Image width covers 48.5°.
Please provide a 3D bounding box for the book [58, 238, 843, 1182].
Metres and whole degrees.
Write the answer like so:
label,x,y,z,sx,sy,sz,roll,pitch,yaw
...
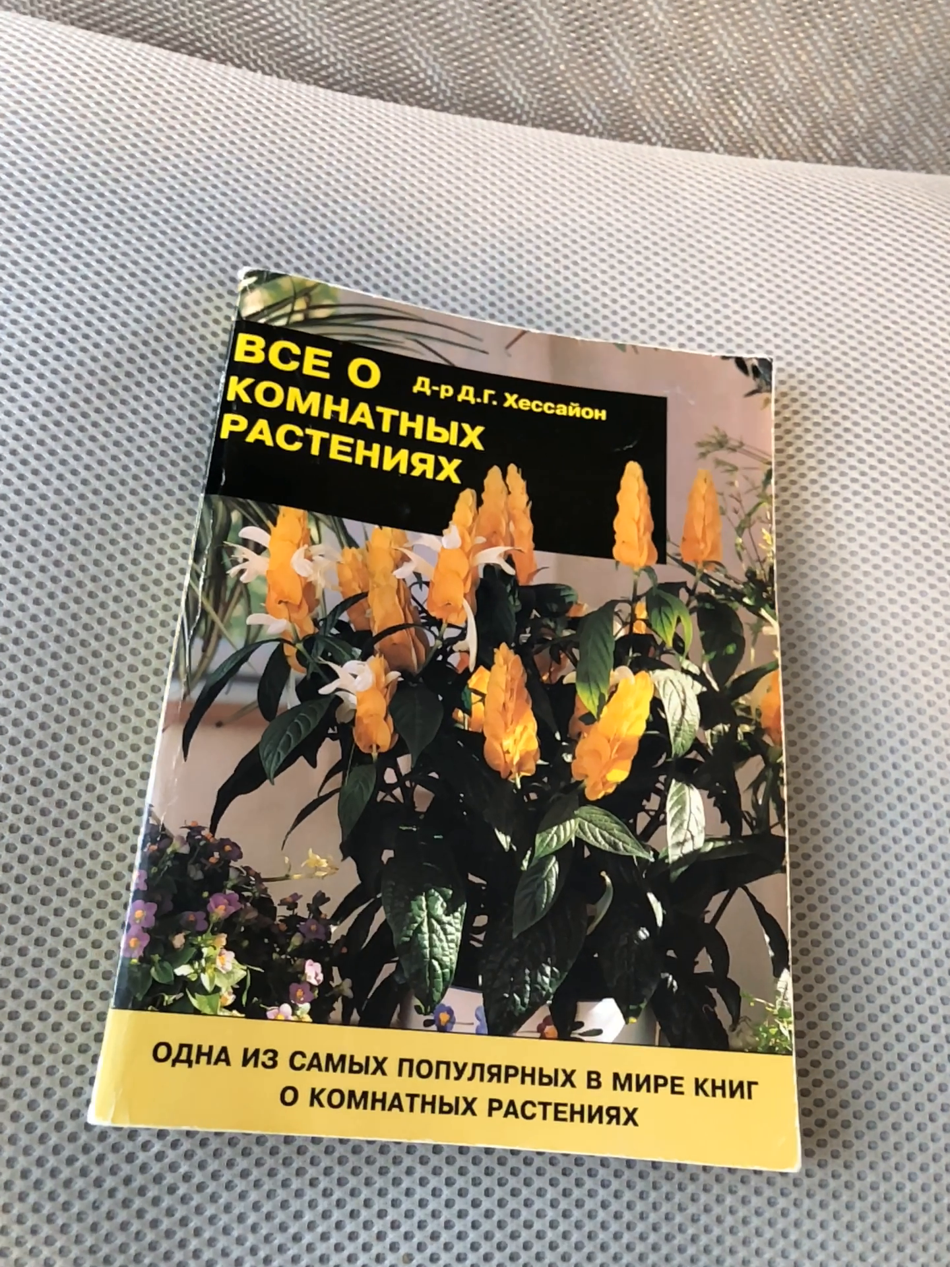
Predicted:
label,x,y,z,sx,sy,sz,roll,pitch,yaw
book,0.004,0.011,0.281,0.170,0.030,0.231,7,68,-9
